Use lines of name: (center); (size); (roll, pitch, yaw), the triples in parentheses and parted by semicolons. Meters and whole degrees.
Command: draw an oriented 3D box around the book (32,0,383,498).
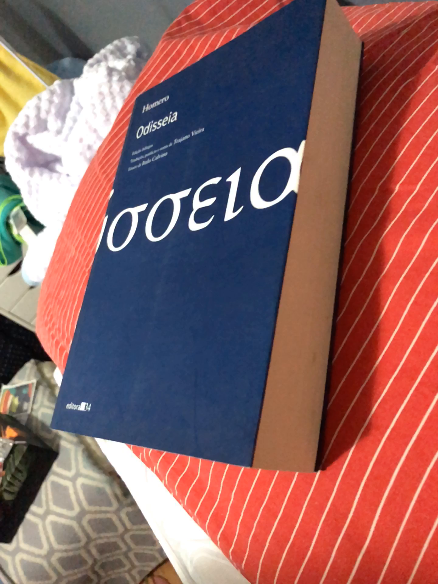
book: (-0.010, -0.031, 0.263); (0.171, 0.040, 0.230); (-8, 63, 45)
